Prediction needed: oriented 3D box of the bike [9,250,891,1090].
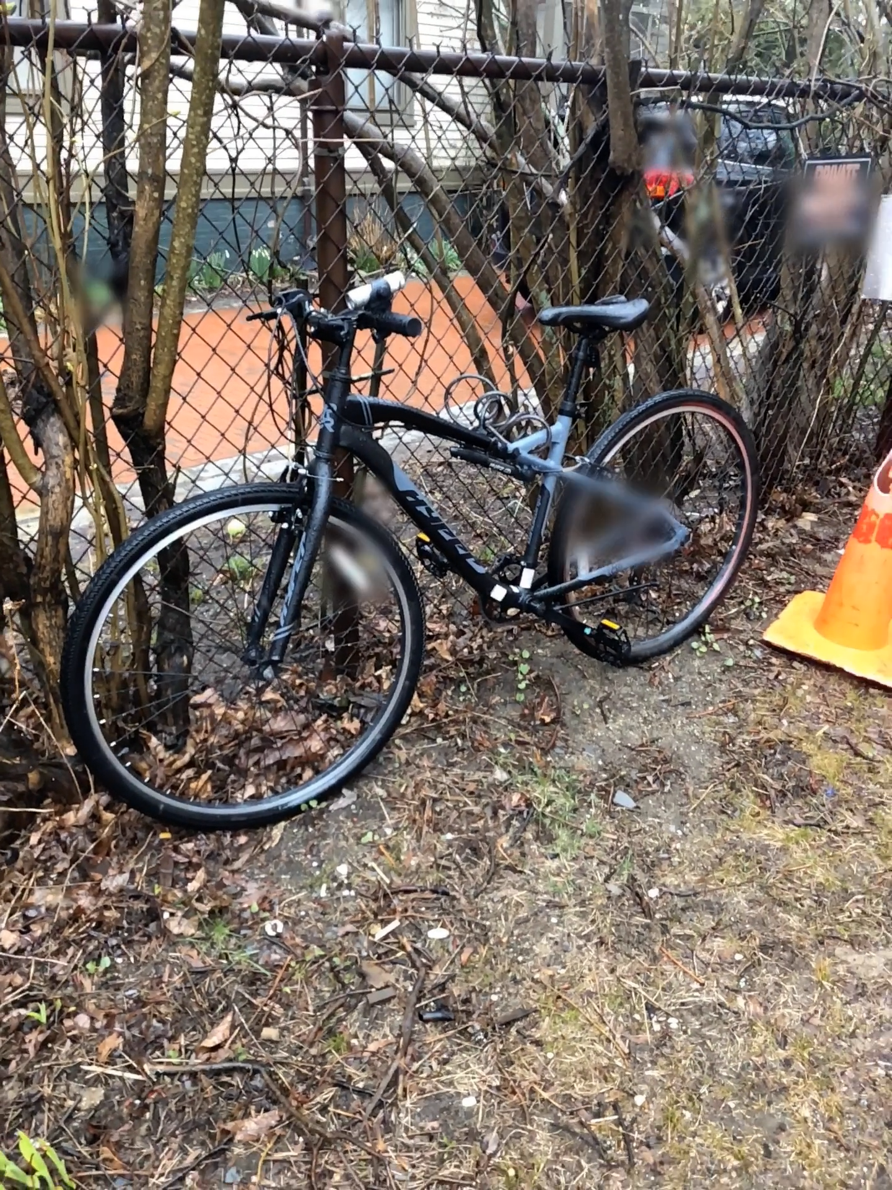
[{"bbox_3d":[0.148,-0.026,2.167,1.890,1.067,0.538,-21,33,-31],"label":"bike"}]
